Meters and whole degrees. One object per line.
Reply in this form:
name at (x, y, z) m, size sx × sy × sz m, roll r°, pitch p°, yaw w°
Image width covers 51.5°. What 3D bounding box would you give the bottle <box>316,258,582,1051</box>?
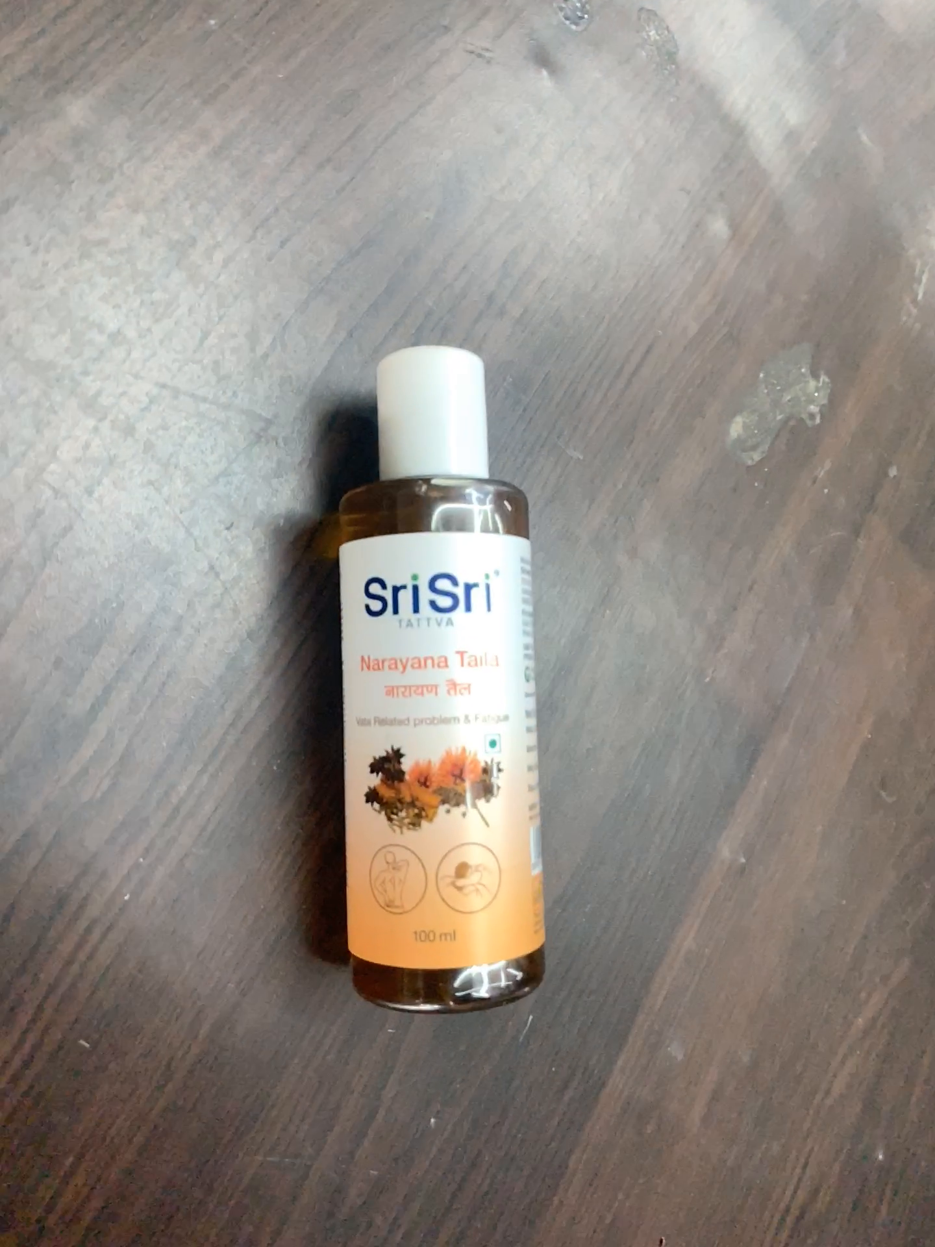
bottle at (-0.006, 0.005, 0.195) m, size 0.040 × 0.040 × 0.140 m, roll -2°, pitch 87°, yaw -12°
